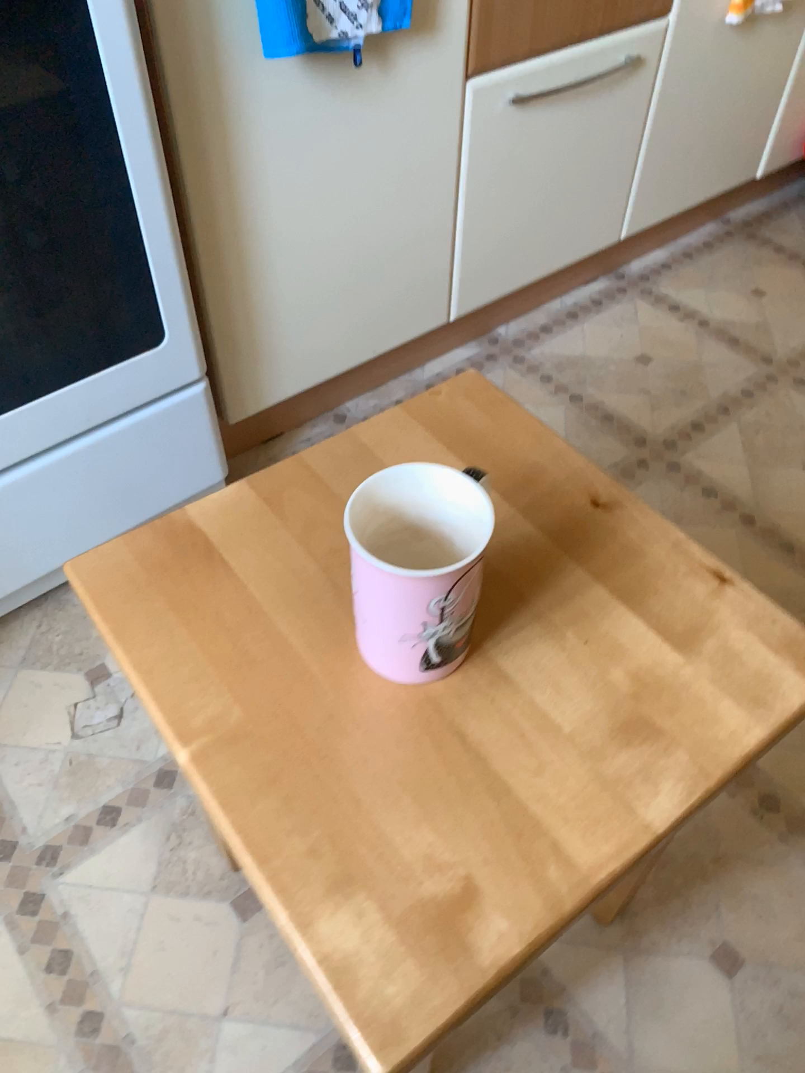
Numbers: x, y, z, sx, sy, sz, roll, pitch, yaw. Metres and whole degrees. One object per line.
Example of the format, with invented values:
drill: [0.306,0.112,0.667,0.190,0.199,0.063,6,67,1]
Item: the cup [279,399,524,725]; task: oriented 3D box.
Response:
cup: [0.002,0.013,0.438,0.074,0.107,0.114,22,52,17]
